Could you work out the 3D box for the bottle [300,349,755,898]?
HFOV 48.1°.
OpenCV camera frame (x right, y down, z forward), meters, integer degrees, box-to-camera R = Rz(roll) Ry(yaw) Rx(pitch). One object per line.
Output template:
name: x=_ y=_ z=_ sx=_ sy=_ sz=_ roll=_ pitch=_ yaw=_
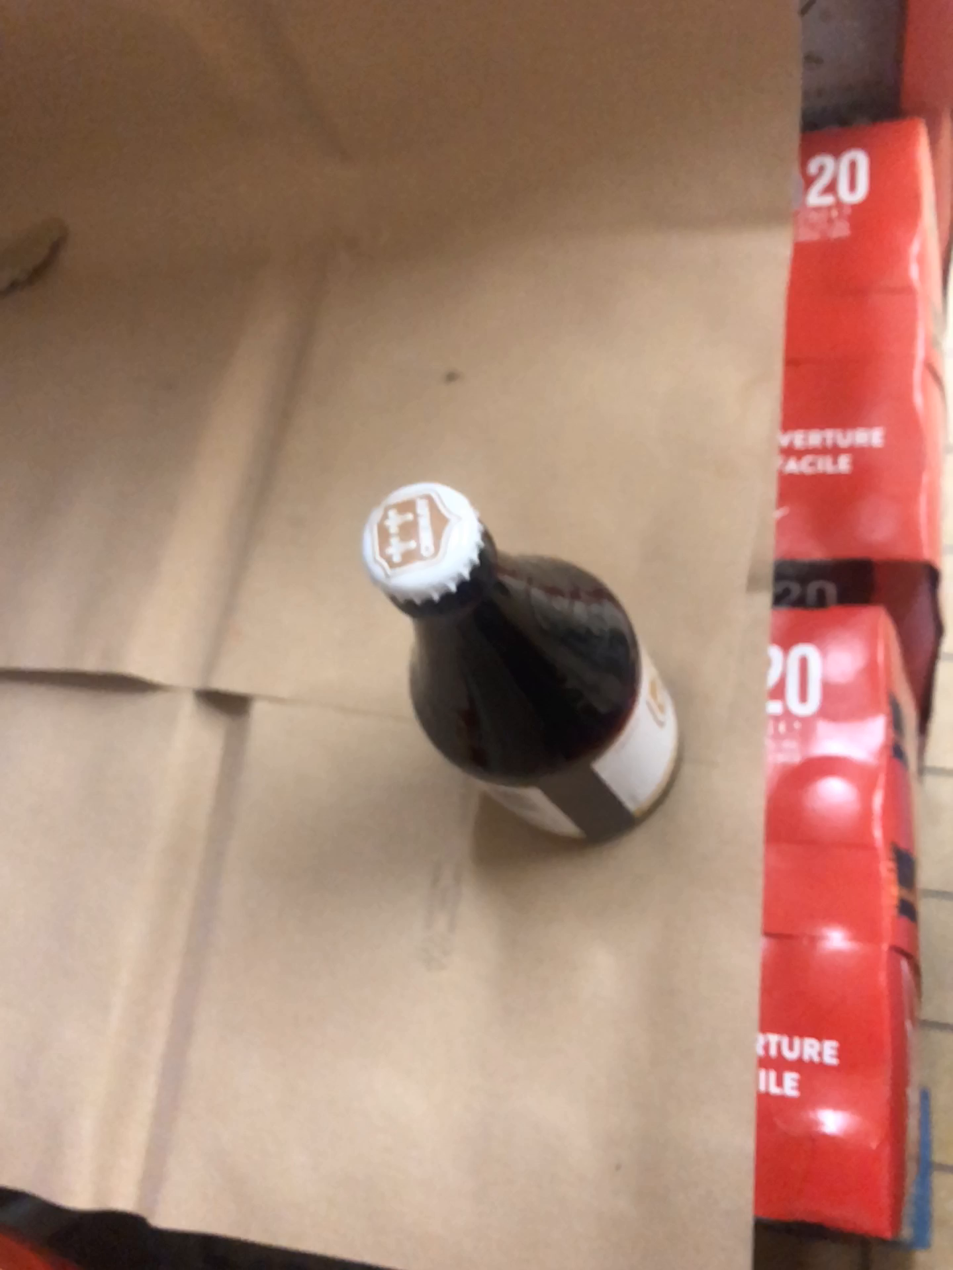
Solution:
bottle: x=0.025 y=0.014 z=0.296 sx=0.070 sy=0.170 sz=0.080 roll=-18 pitch=65 yaw=11
